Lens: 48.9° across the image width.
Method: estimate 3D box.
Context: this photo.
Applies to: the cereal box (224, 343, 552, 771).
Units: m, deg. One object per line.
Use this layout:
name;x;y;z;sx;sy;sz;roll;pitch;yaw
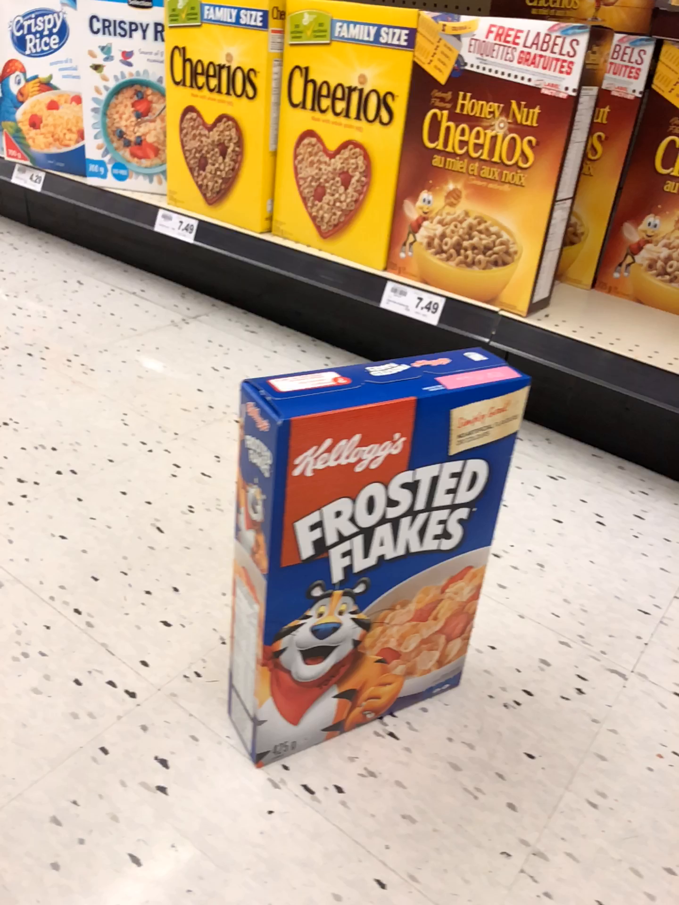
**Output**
cereal box;0.026;0.077;0.555;0.200;0.288;0.070;-11;34;-29
